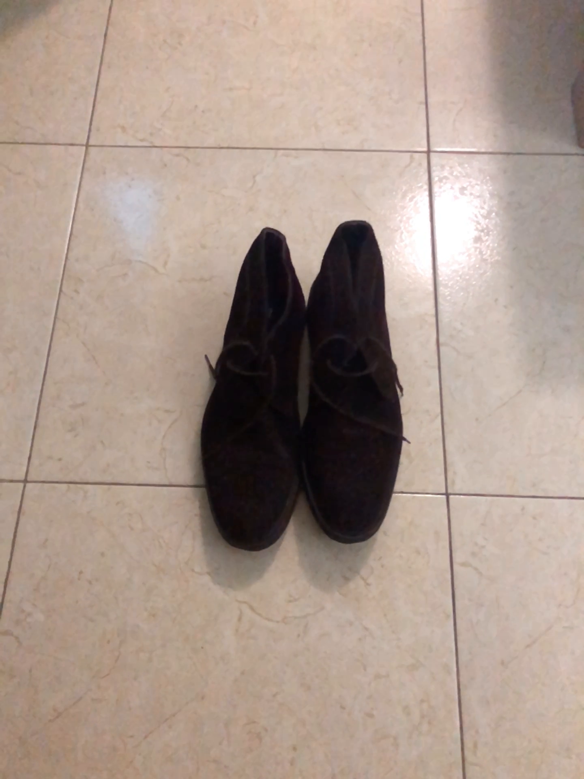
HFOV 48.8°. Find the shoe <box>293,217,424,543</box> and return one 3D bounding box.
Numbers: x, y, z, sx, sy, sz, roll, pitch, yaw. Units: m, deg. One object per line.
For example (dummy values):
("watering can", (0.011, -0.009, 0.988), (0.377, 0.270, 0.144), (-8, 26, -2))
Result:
("shoe", (0.064, -0.008, 0.661), (0.110, 0.140, 0.300), (2, 69, 1))

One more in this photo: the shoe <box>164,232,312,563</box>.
("shoe", (-0.042, 0.009, 0.643), (0.110, 0.130, 0.300), (2, 69, 1))
